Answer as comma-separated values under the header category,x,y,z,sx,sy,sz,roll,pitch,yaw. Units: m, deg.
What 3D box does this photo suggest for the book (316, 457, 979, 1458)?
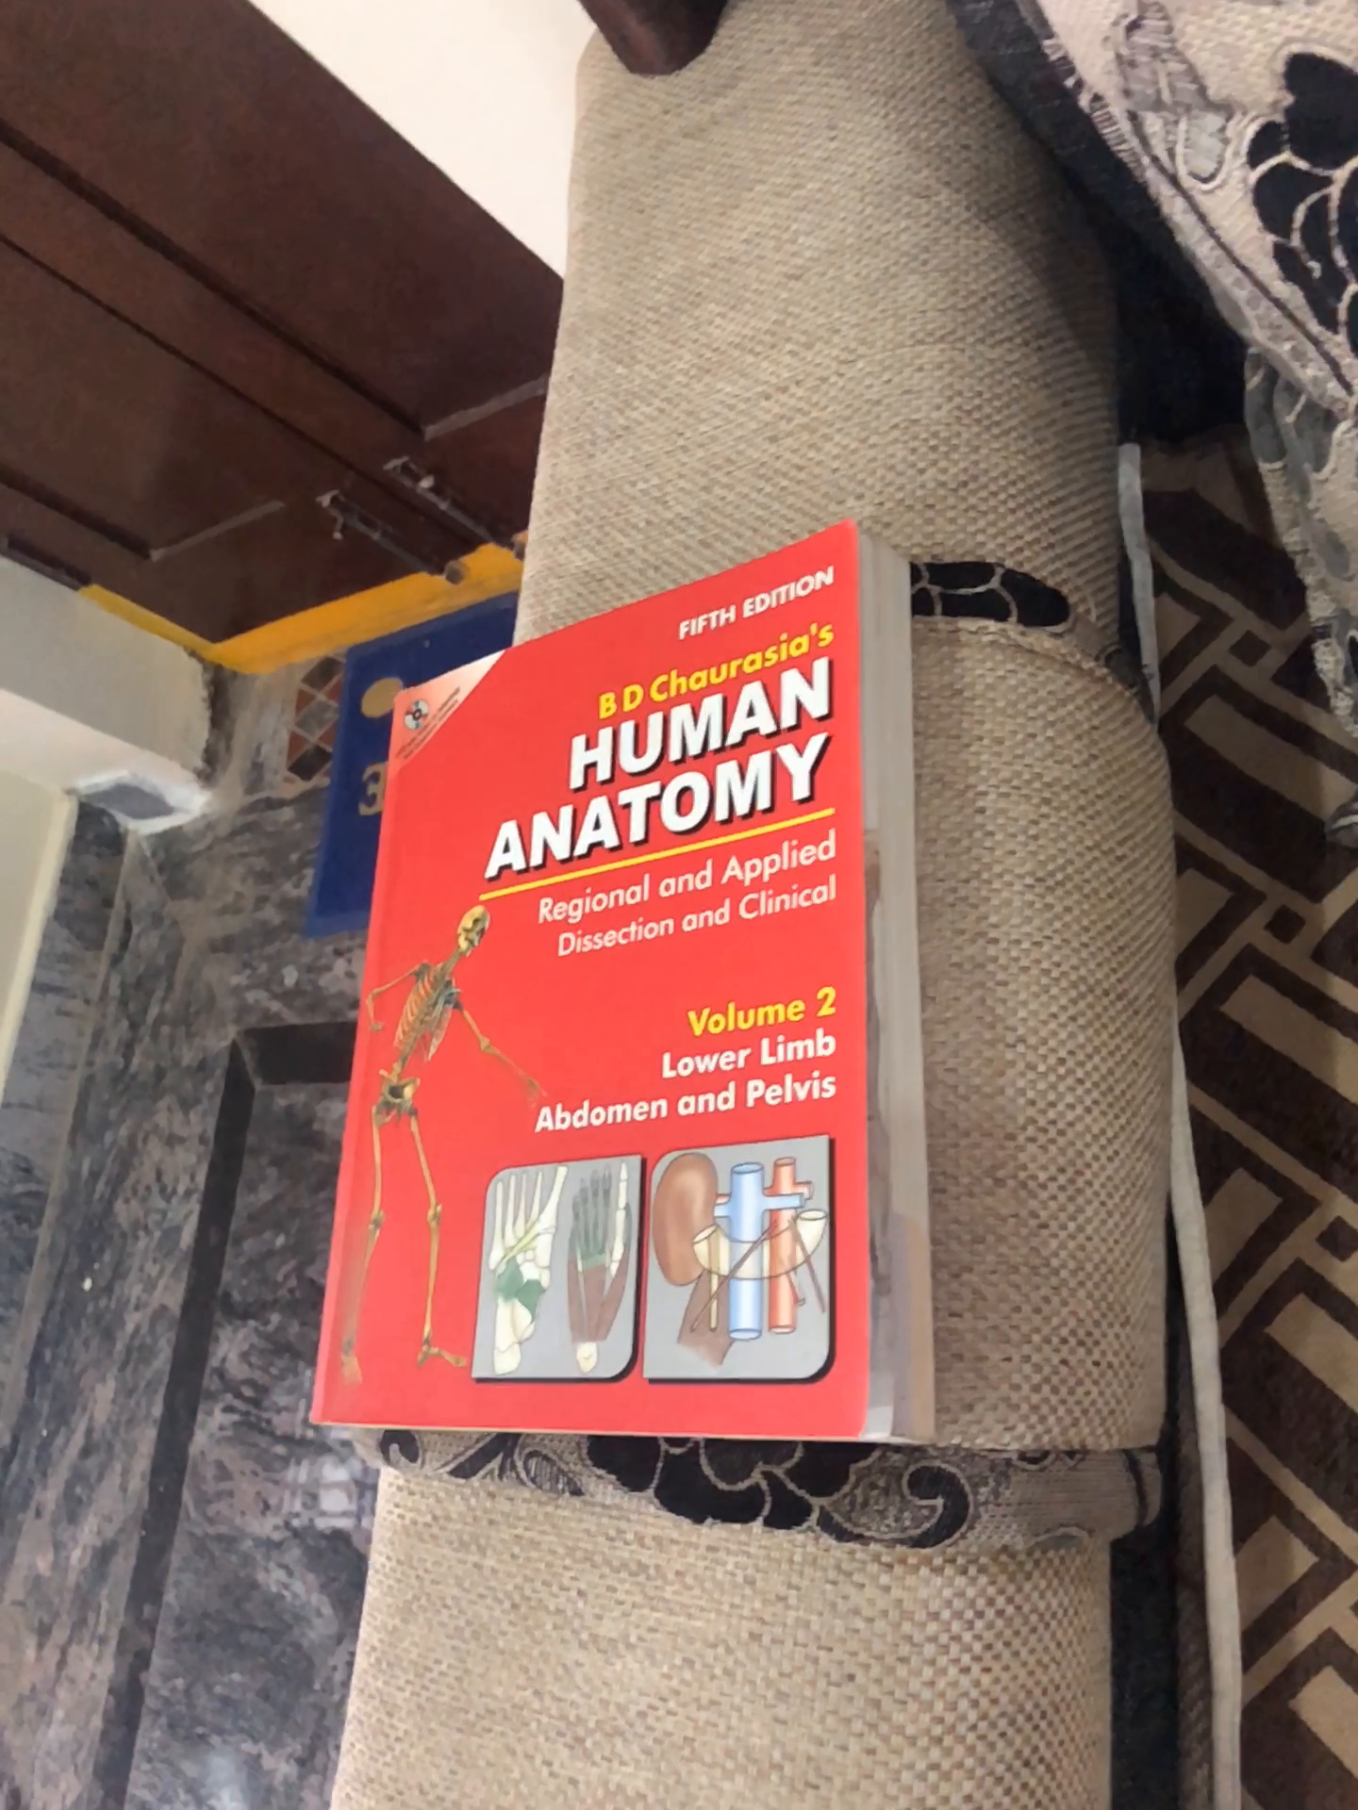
category,x,y,z,sx,sy,sz,roll,pitch,yaw
book,-0.015,0.023,0.494,0.221,0.040,0.290,-13,65,36
